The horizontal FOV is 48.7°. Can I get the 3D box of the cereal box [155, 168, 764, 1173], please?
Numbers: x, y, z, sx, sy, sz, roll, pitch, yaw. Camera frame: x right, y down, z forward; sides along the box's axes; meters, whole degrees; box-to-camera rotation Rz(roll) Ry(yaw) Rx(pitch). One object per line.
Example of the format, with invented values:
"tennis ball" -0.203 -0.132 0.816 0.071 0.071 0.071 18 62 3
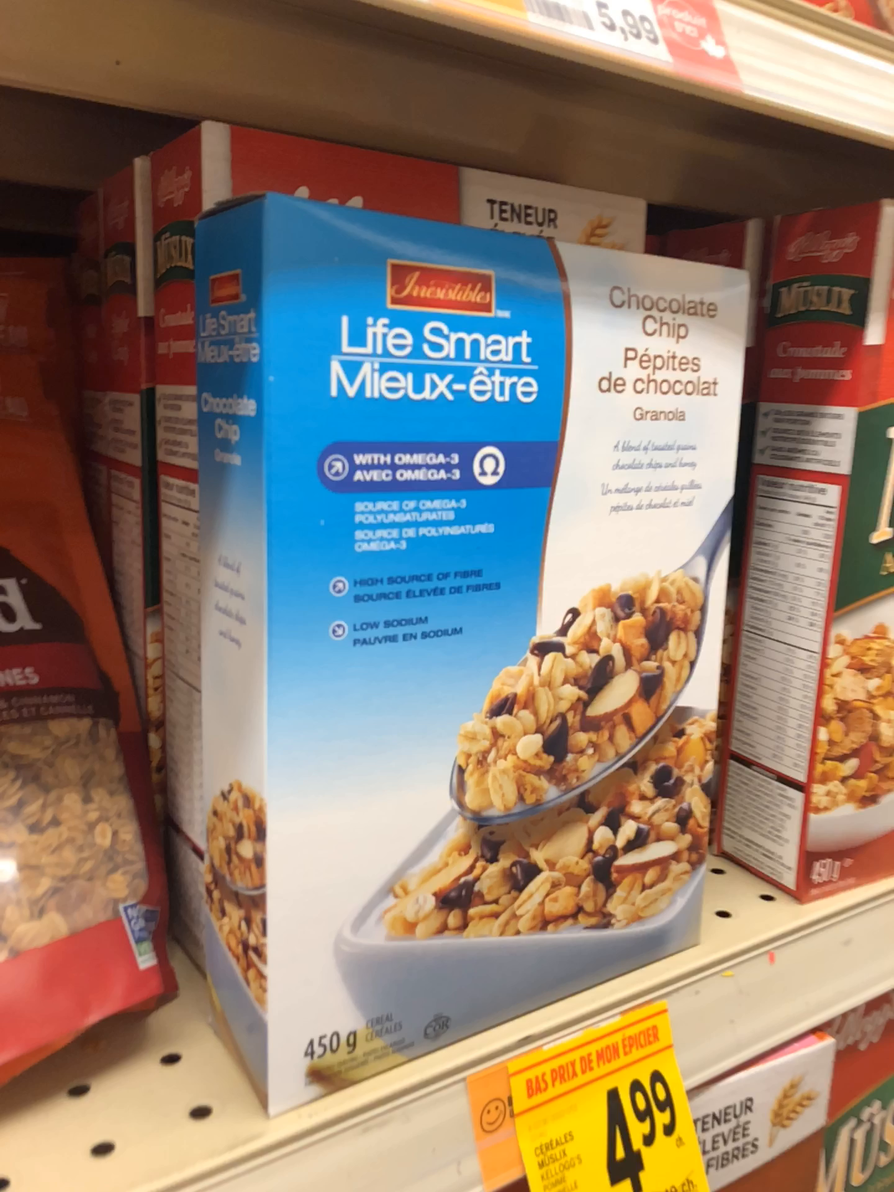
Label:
"cereal box" 0.009 0.017 0.302 0.180 0.239 0.050 -4 10 -34
